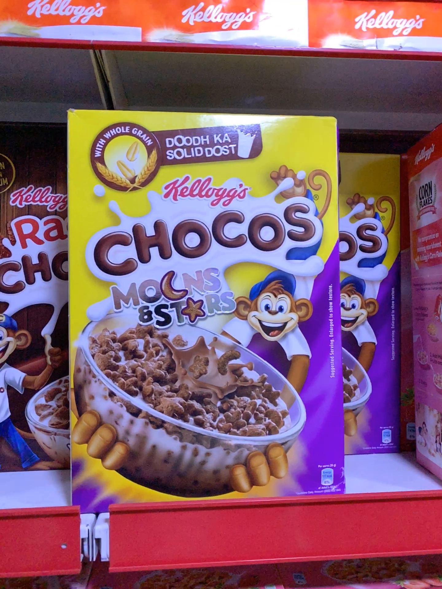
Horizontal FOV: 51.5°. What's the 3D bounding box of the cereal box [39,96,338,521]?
[{"bbox_3d":[-0.020,0.007,0.310,0.180,0.250,0.060,-1,0,-6],"label":"cereal box"}]
